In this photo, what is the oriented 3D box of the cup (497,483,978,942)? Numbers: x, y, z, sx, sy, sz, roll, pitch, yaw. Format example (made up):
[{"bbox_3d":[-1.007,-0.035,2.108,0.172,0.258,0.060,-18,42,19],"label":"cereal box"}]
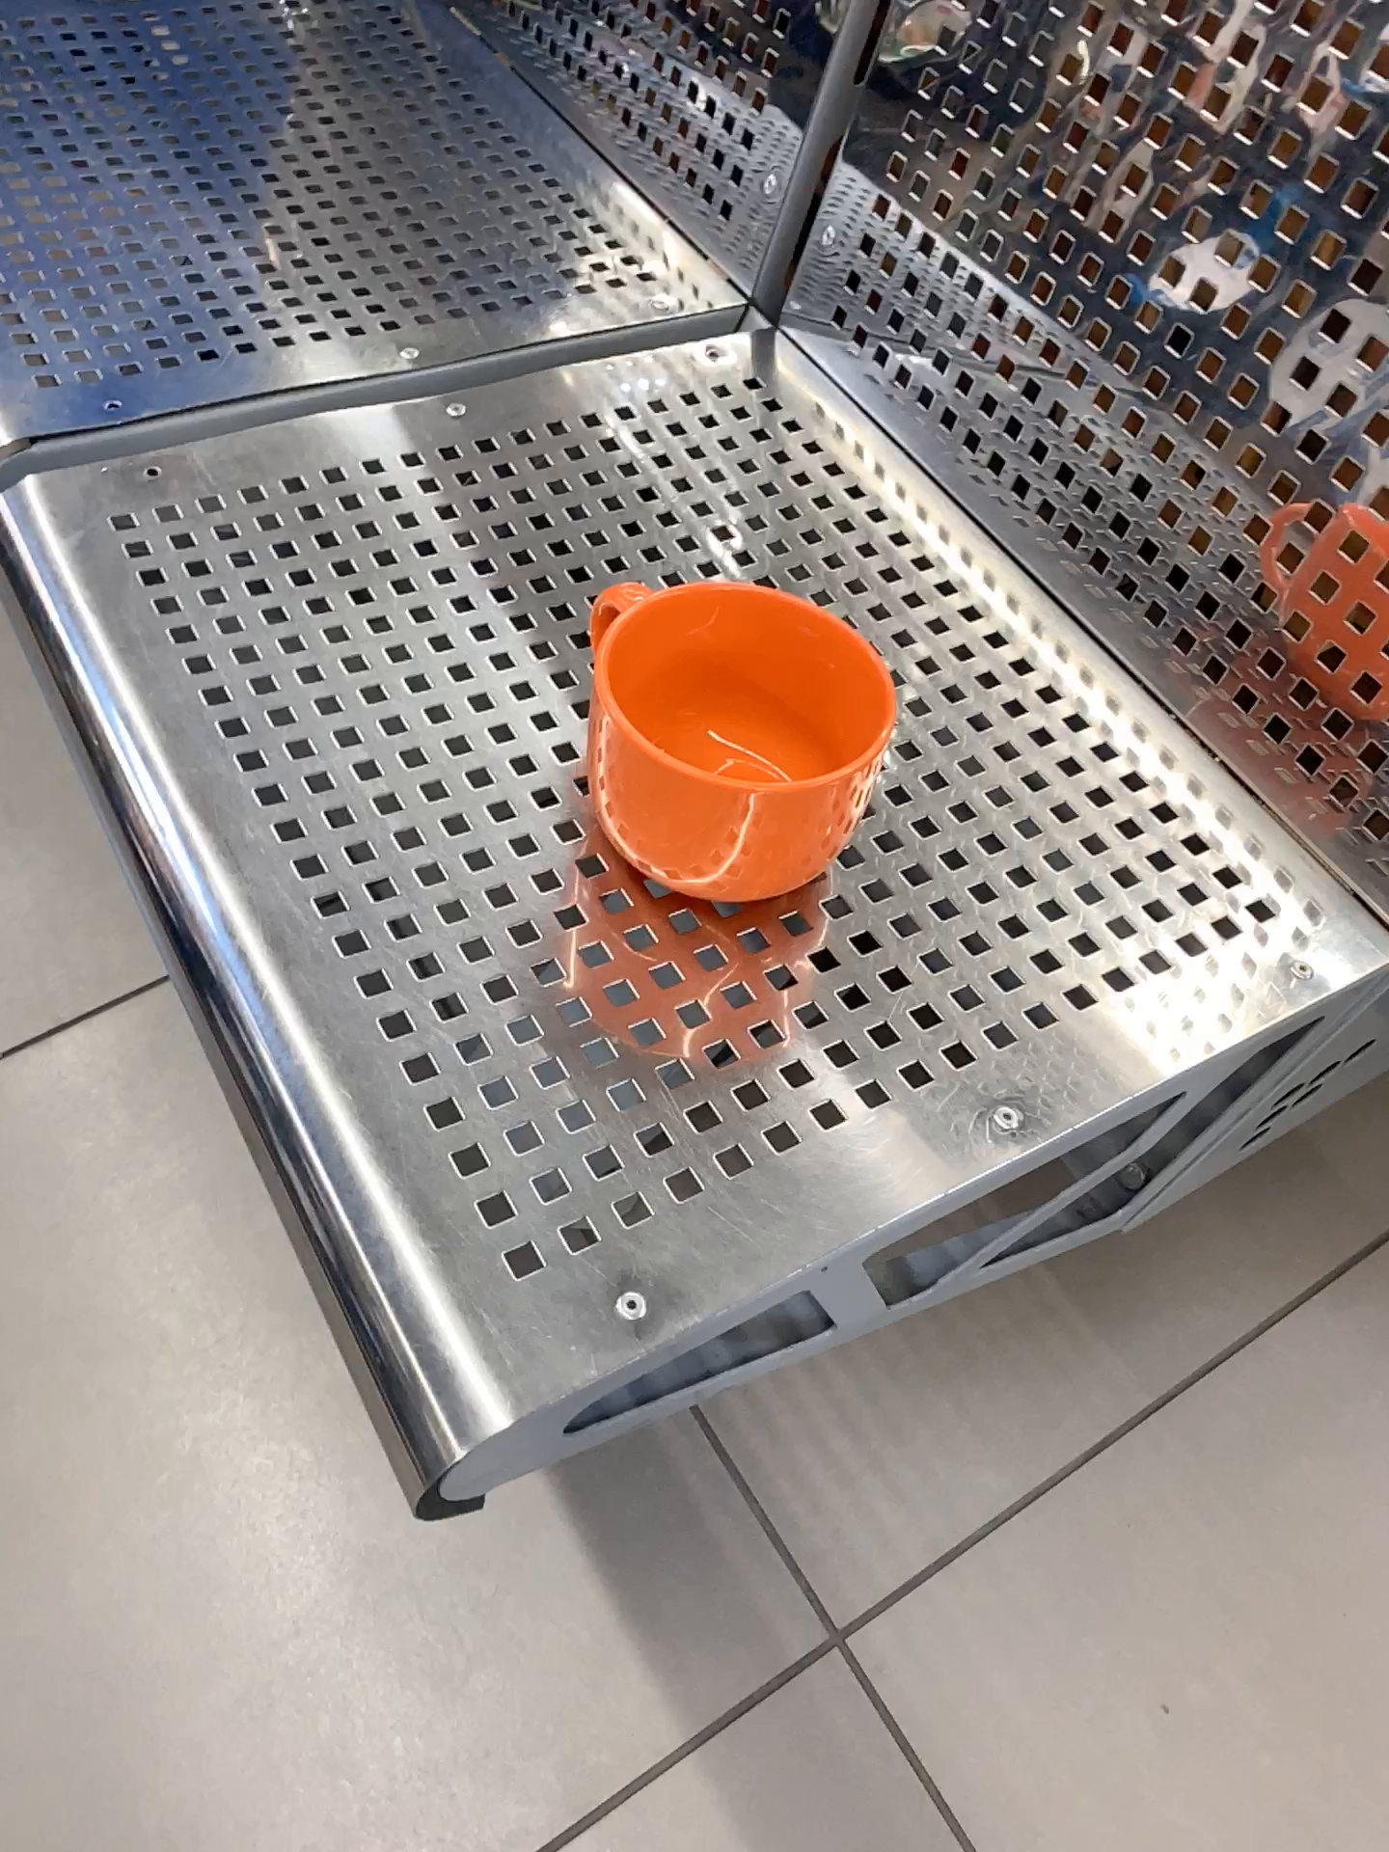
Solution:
[{"bbox_3d":[0.010,-0.087,0.546,0.110,0.070,0.150,-21,59,-26],"label":"cup"}]
